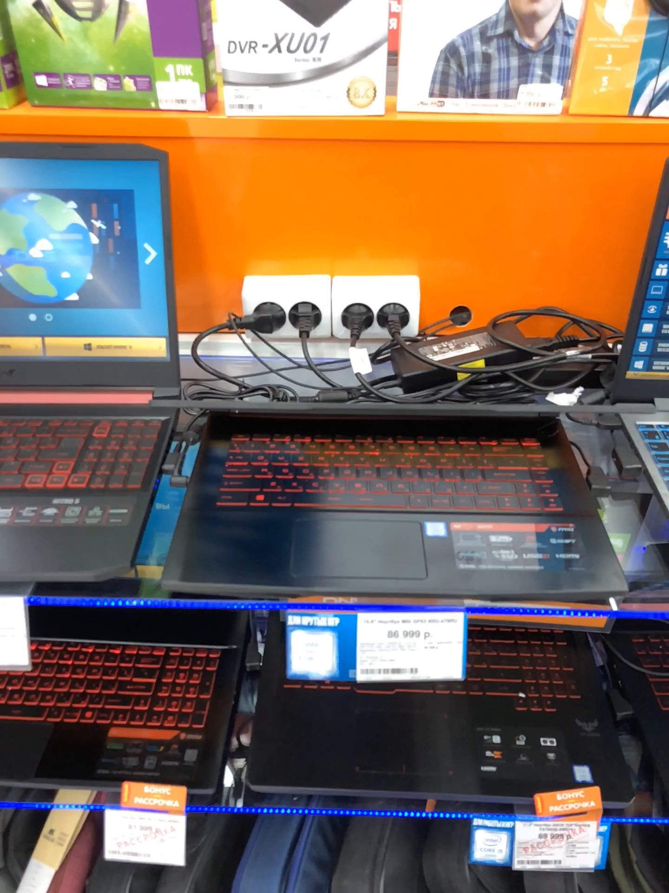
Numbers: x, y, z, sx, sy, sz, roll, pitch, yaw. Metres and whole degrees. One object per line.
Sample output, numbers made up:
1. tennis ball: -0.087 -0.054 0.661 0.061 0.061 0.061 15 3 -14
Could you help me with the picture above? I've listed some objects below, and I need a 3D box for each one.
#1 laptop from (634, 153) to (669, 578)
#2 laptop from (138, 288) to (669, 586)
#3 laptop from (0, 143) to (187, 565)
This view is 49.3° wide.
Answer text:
1. laptop: 0.458 -0.076 0.588 0.326 0.228 0.279 2 36 6
2. laptop: 0.048 -0.018 0.602 0.347 0.134 0.227 1 36 0
3. laptop: -0.347 -0.099 0.630 0.365 0.225 0.331 1 36 -1
